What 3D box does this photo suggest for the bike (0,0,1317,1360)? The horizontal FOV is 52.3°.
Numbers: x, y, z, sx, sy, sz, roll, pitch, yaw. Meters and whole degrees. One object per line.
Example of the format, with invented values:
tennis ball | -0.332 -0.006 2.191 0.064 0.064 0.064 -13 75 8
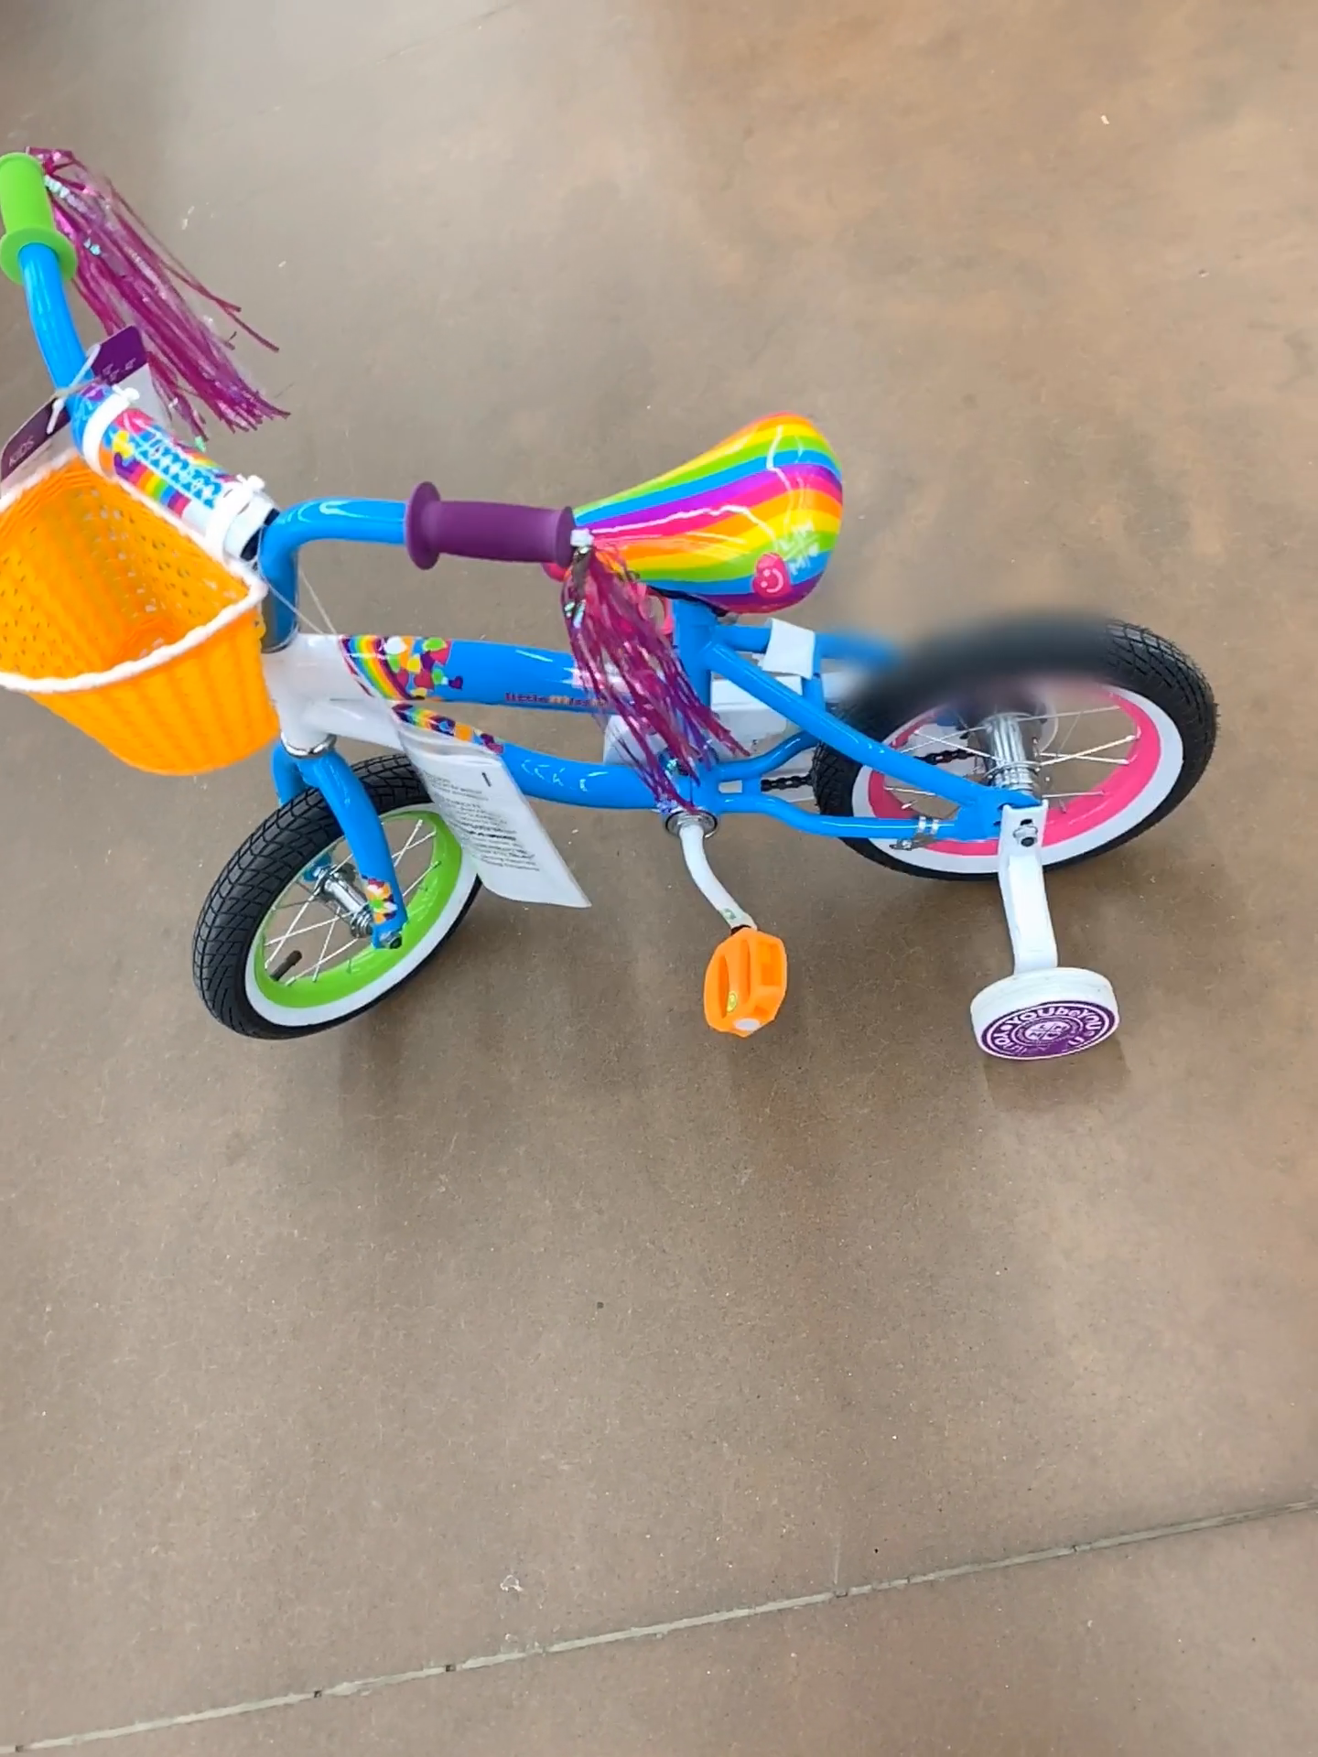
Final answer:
bike | -0.046 -0.099 0.936 0.833 0.667 0.522 -15 54 14
